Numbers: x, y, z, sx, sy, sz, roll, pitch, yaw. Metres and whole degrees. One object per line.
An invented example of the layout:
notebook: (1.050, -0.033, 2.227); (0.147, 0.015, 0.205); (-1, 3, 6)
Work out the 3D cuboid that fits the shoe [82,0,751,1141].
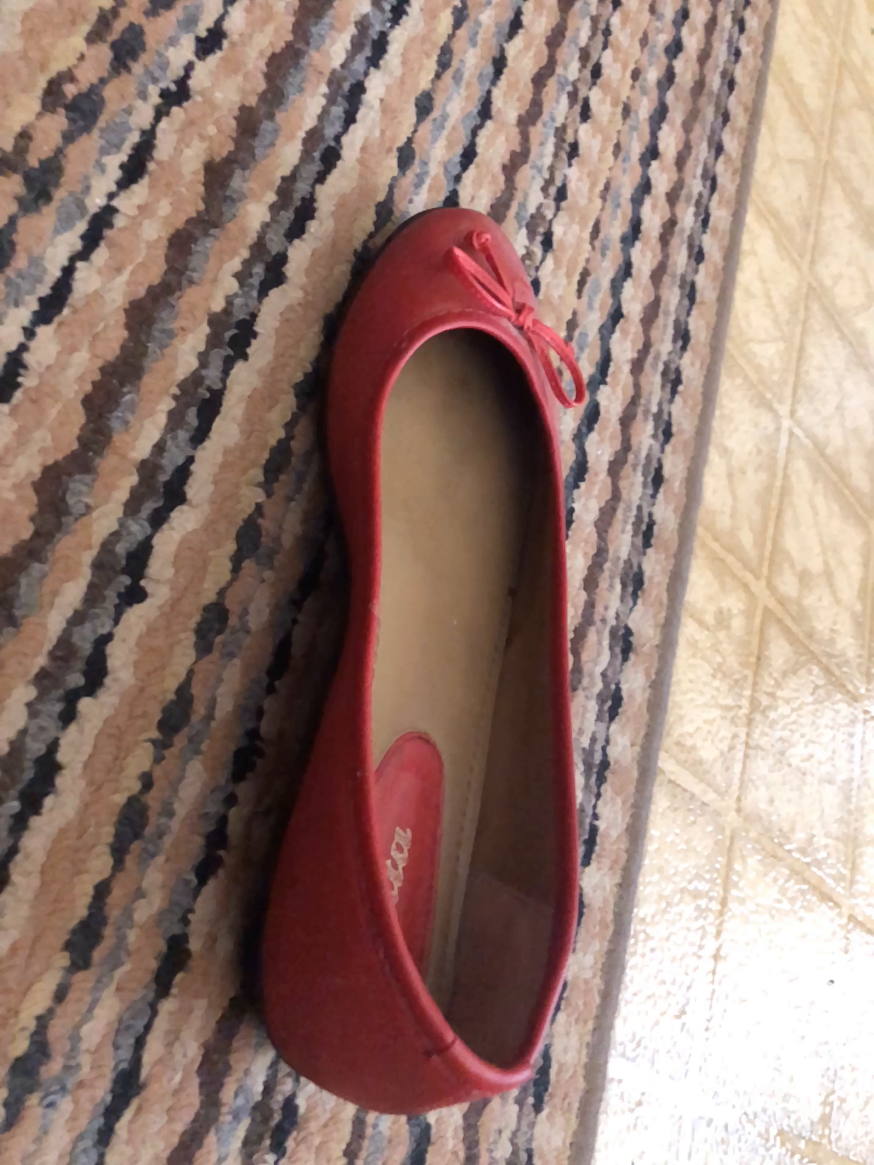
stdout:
shoe: (0.008, -0.006, 0.279); (0.101, 0.109, 0.270); (27, 64, -37)
